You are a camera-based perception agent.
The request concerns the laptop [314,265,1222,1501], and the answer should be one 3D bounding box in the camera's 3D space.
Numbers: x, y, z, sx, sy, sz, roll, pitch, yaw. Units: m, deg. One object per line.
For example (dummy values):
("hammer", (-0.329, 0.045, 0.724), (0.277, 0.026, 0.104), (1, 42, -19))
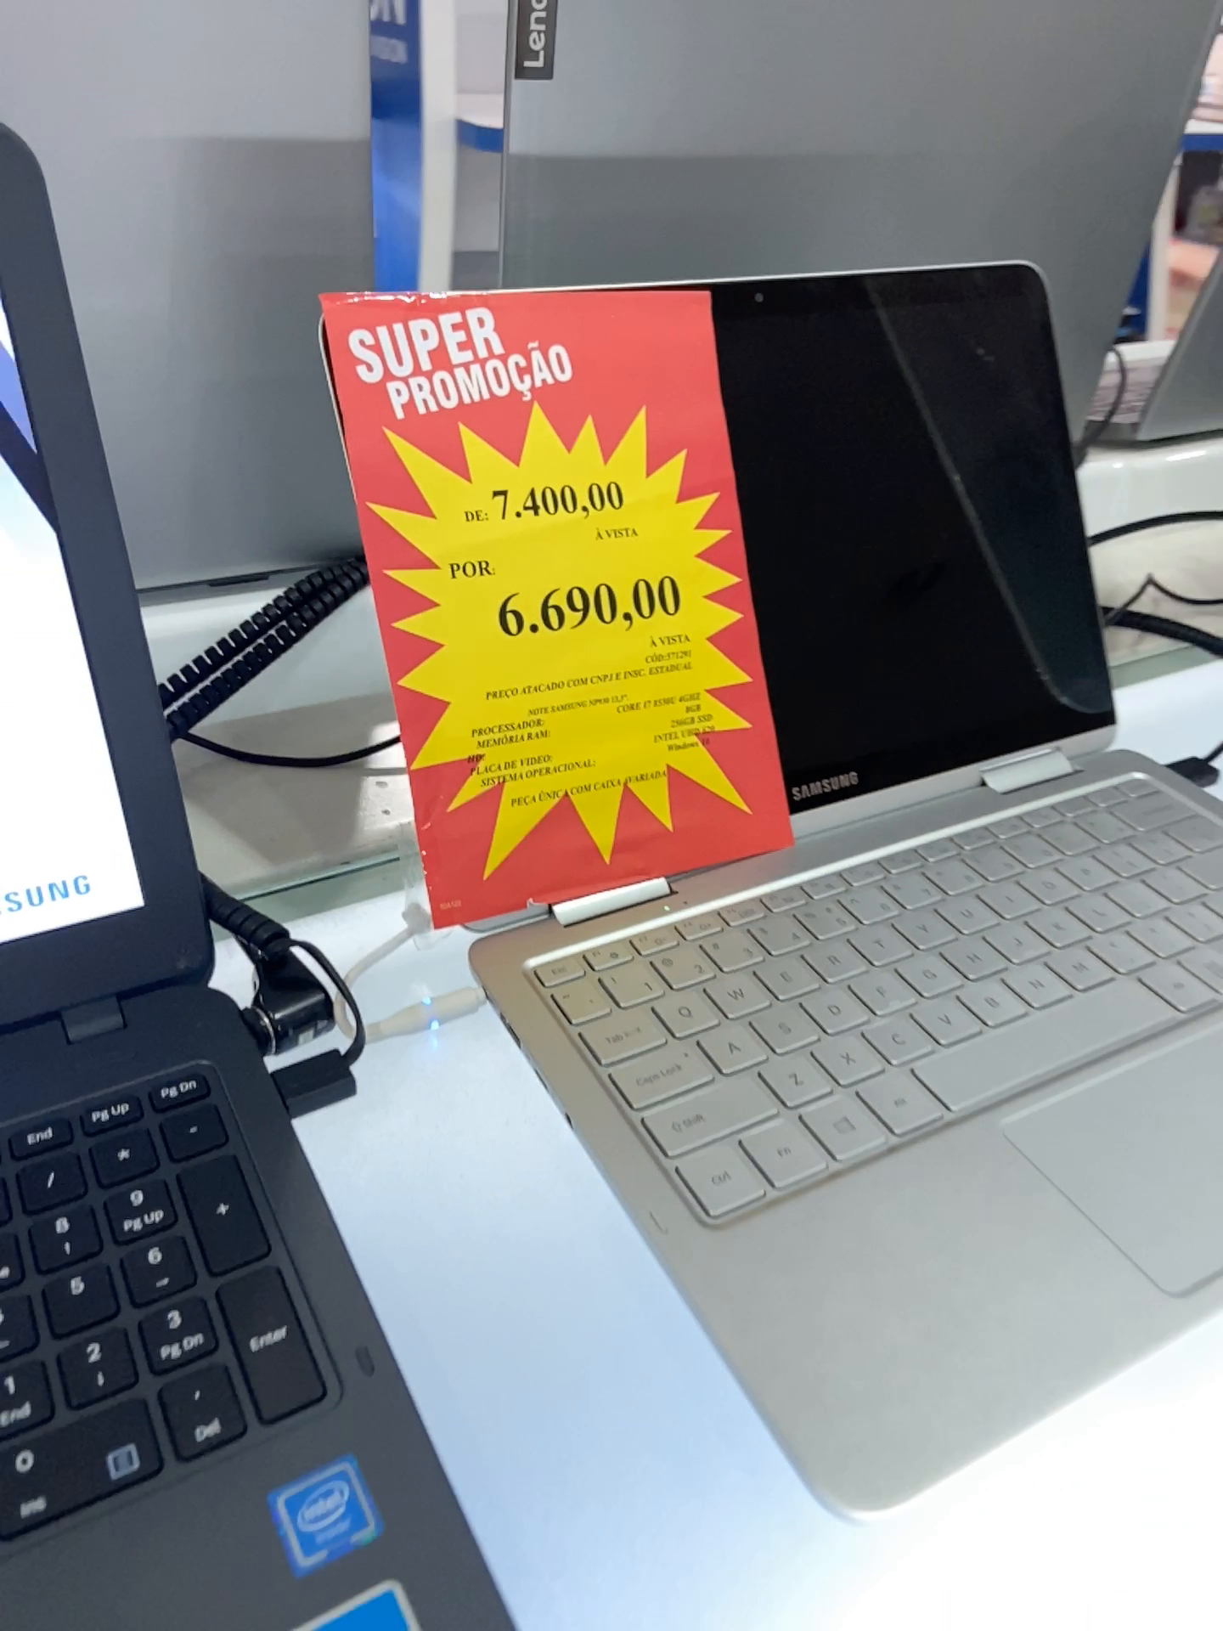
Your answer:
("laptop", (0.112, -0.044, 0.391), (0.305, 0.170, 0.311), (-15, 37, -25))
